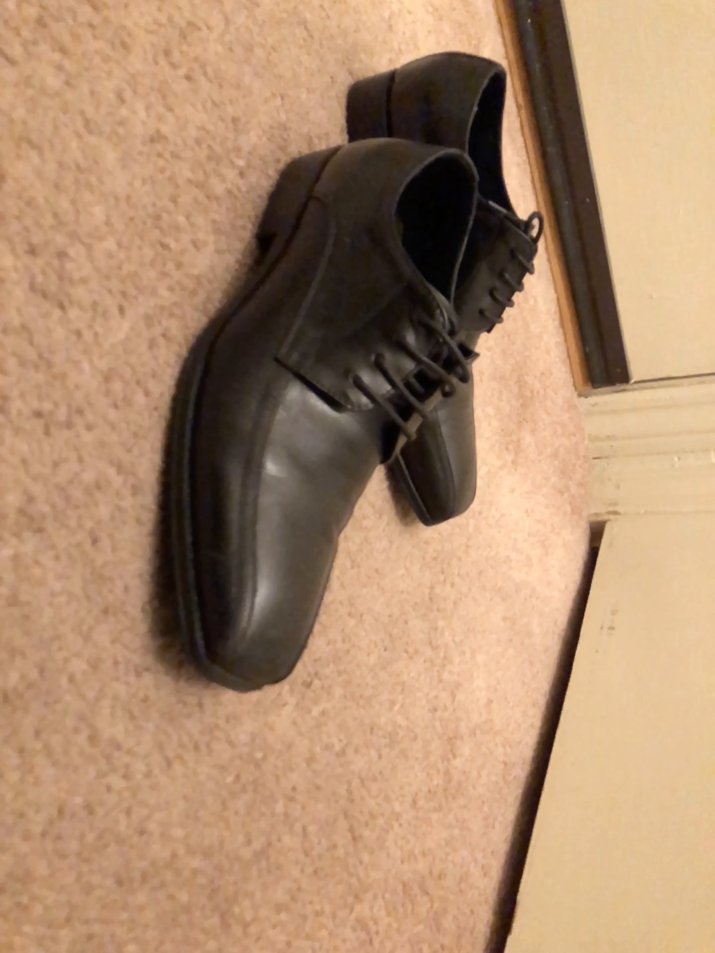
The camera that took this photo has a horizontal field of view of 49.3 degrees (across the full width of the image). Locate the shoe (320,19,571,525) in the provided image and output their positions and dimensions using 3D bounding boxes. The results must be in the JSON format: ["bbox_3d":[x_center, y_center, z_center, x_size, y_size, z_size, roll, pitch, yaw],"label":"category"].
[{"bbox_3d":[0.067,-0.124,0.542,0.116,0.110,0.297,-15,100,-61],"label":"shoe"}]

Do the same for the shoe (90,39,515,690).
[{"bbox_3d":[-0.006,-0.056,0.379,0.110,0.107,0.284,46,49,-50],"label":"shoe"}]
